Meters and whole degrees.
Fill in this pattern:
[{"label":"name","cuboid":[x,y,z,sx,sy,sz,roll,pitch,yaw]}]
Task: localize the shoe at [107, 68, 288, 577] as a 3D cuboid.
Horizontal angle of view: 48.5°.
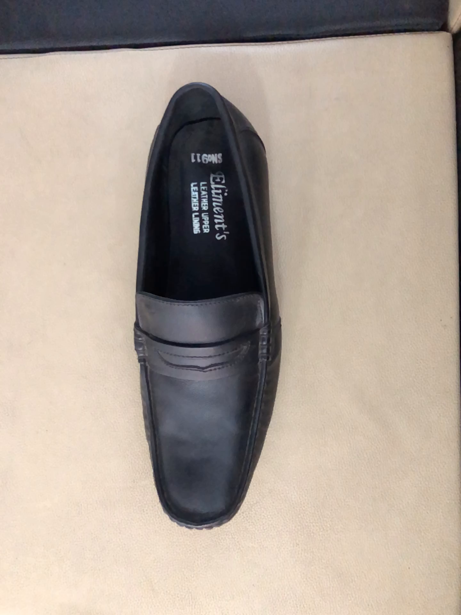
[{"label":"shoe","cuboid":[-0.015,0.007,0.335,0.100,0.080,0.290,1,88,5]}]
